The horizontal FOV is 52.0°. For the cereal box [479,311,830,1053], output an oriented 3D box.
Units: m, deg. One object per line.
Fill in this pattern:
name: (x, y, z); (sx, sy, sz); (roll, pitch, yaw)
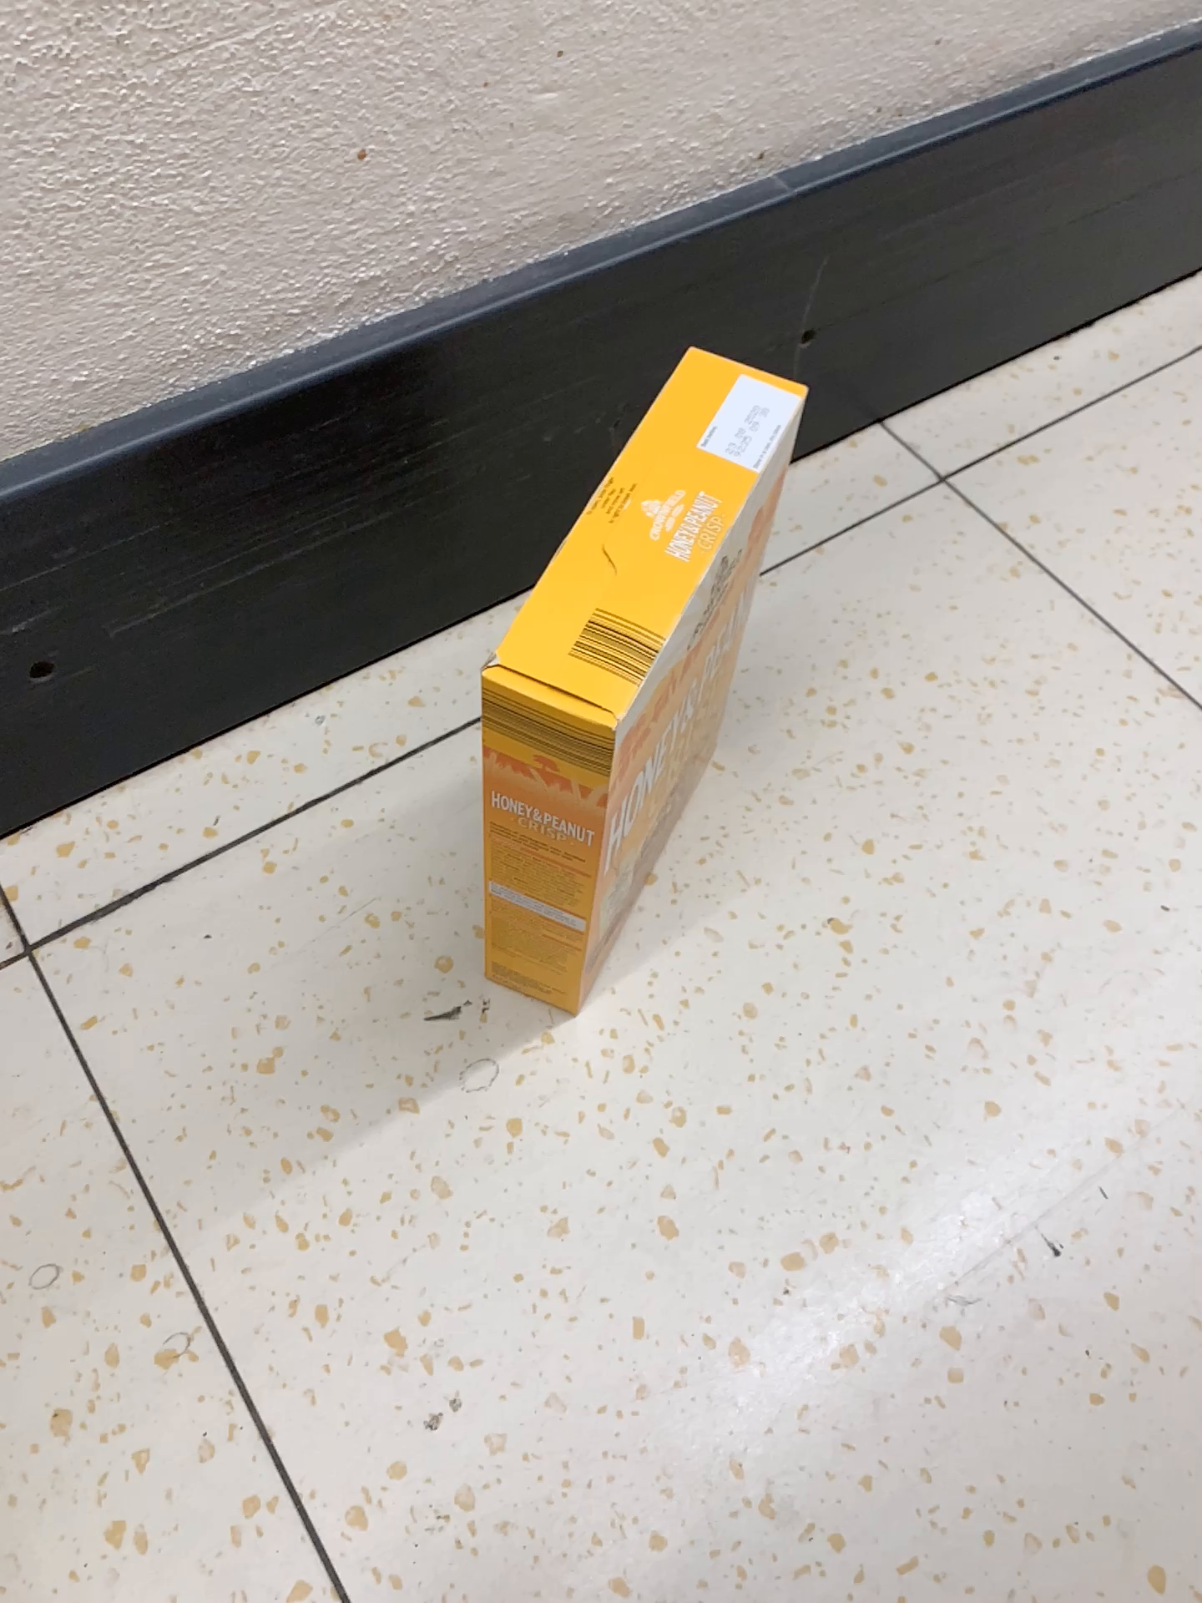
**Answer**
cereal box: (0.014, -0.033, 0.527); (0.050, 0.268, 0.191); (22, 59, 9)
